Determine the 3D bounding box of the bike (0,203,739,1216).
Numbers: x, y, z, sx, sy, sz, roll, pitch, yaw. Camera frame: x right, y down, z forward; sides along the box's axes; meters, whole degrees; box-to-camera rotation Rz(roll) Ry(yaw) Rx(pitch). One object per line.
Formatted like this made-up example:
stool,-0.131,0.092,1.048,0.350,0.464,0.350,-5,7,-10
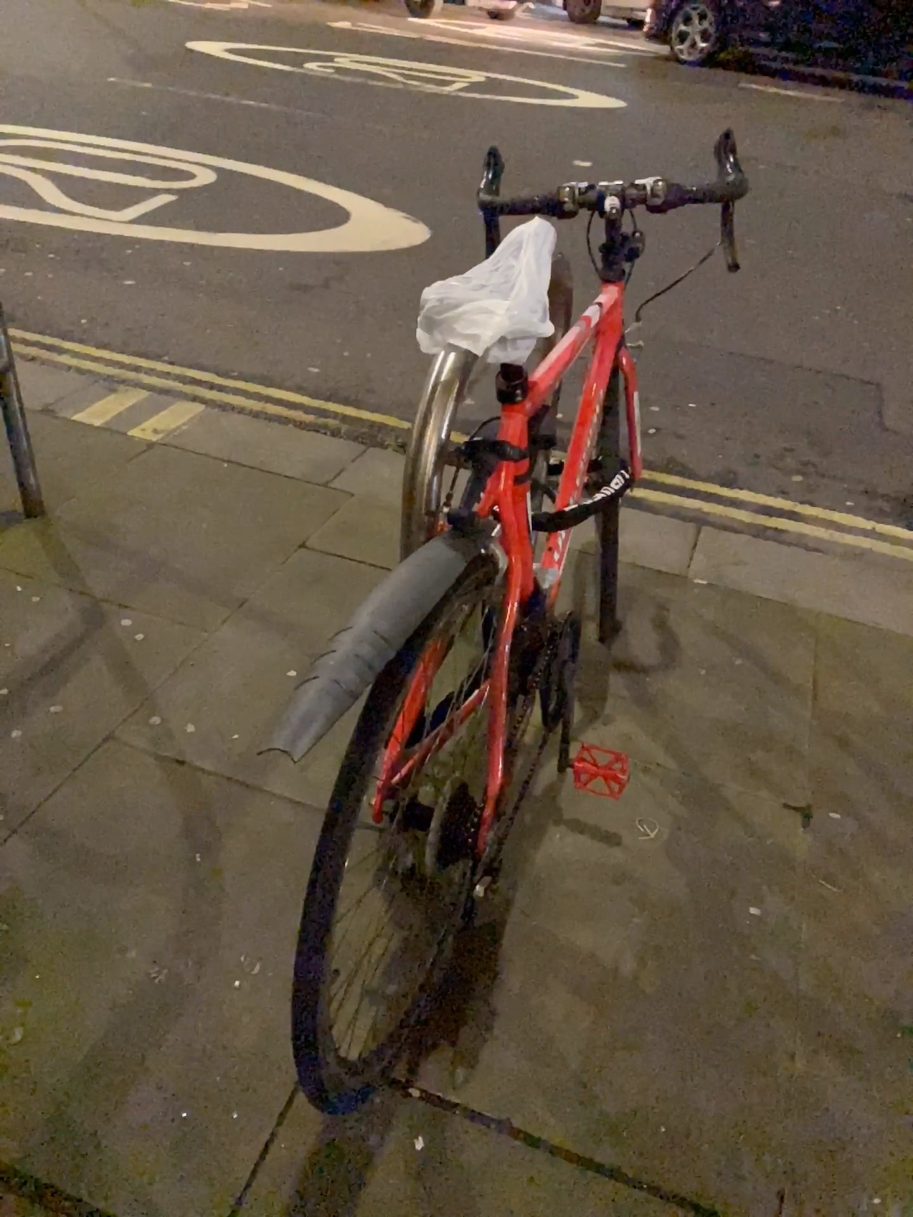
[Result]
bike,0.073,-0.075,1.604,0.537,0.809,1.670,13,36,12
